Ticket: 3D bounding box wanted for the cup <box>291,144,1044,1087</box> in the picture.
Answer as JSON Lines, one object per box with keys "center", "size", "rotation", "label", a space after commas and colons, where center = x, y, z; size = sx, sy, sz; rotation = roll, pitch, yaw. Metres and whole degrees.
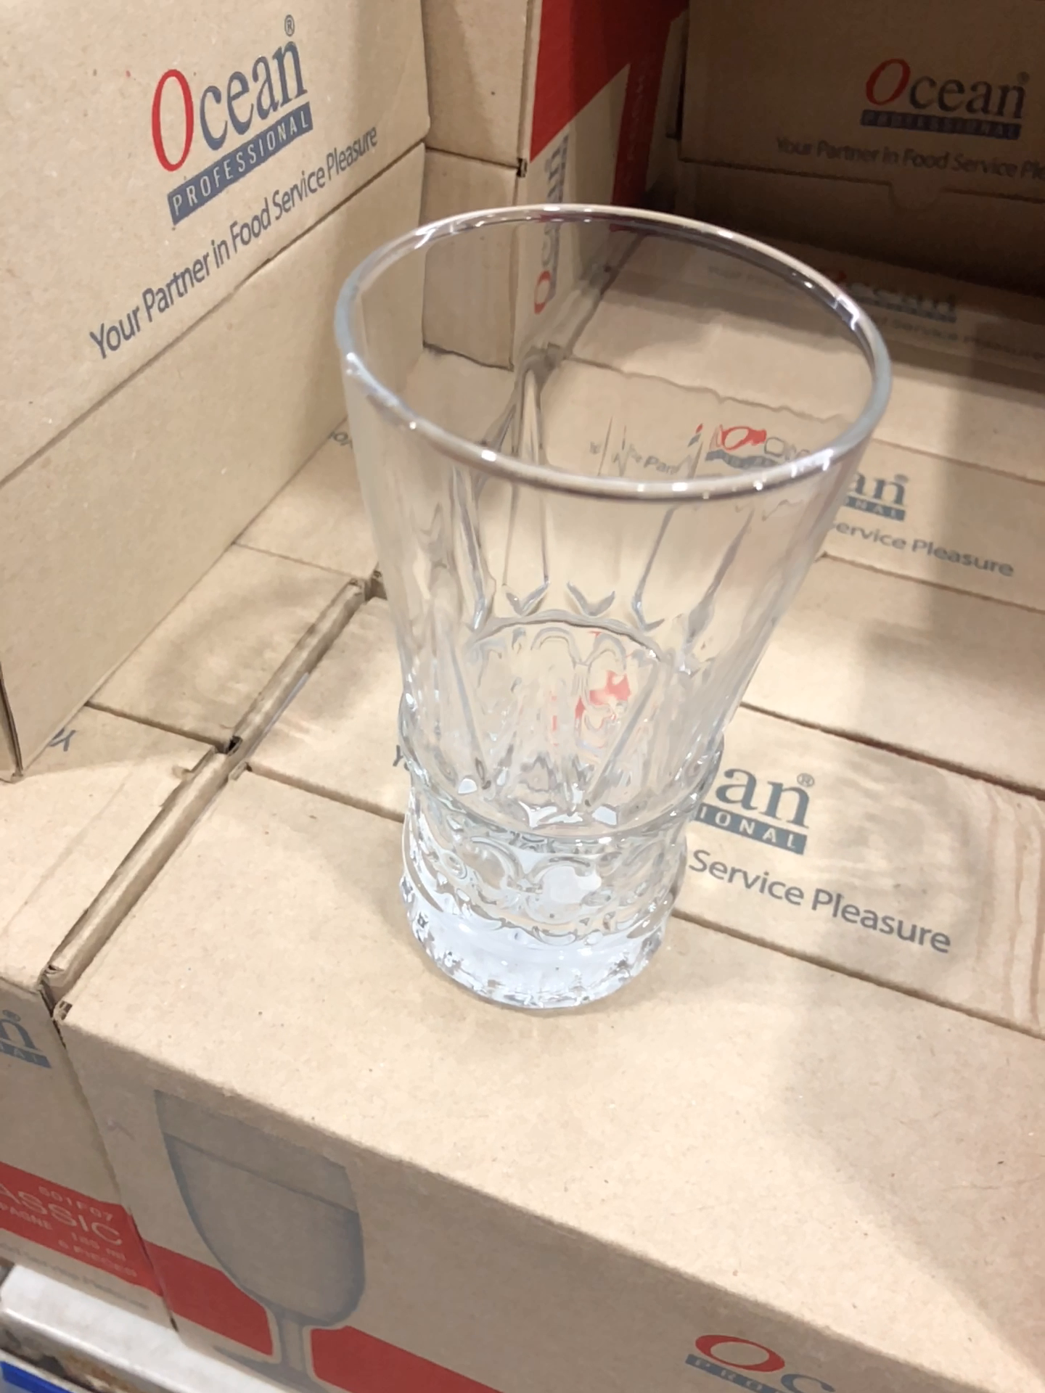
{"center": [0.019, -0.016, 0.218], "size": [0.100, 0.129, 0.100], "rotation": [3, 44, -3], "label": "cup"}
